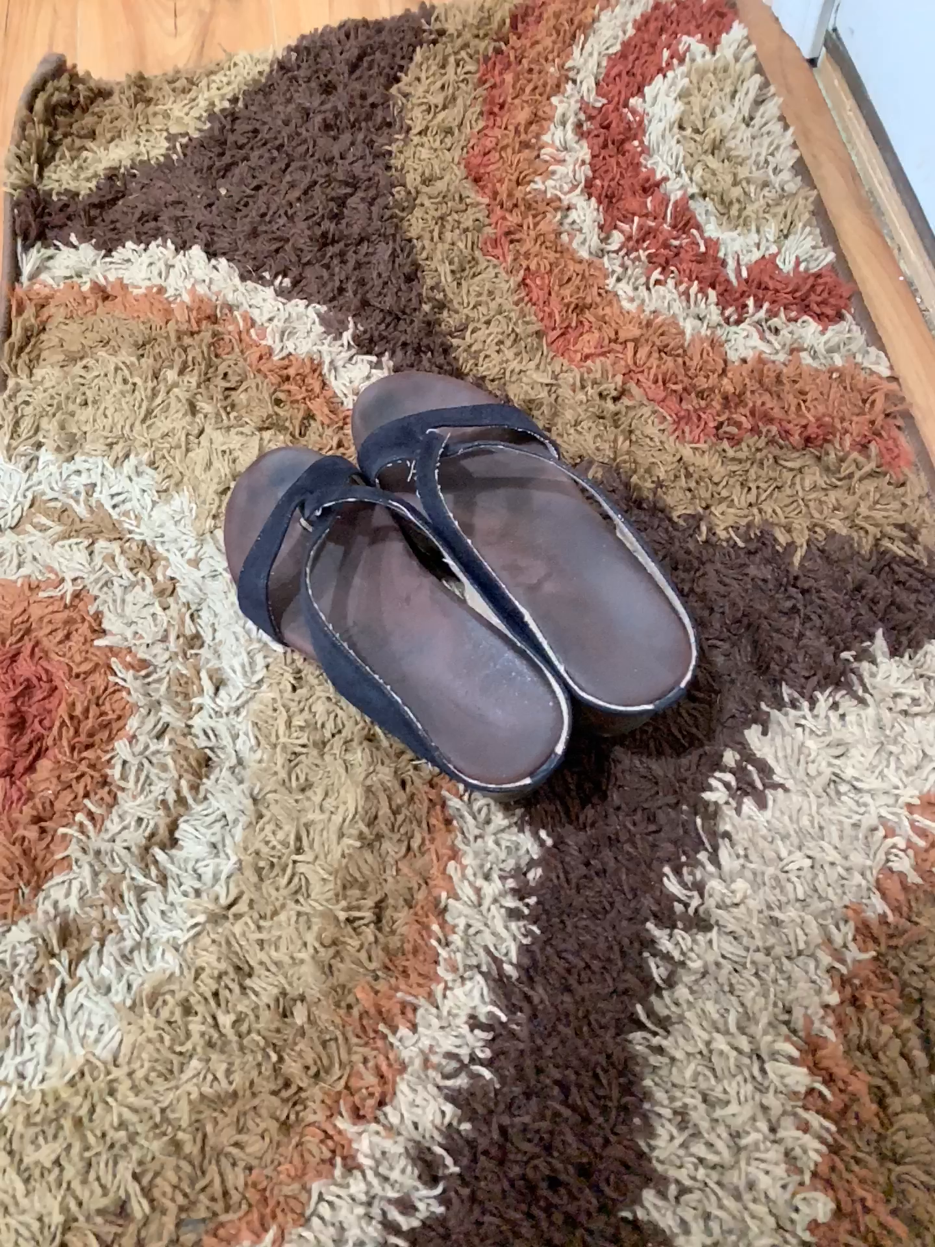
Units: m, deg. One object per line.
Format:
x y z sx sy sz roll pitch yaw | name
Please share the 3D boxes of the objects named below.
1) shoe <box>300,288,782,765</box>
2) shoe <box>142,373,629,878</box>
0.026 -0.051 0.440 0.084 0.052 0.224 -38 68 -11 | shoe
-0.040 -0.005 0.434 0.090 0.062 0.223 -40 68 -11 | shoe
